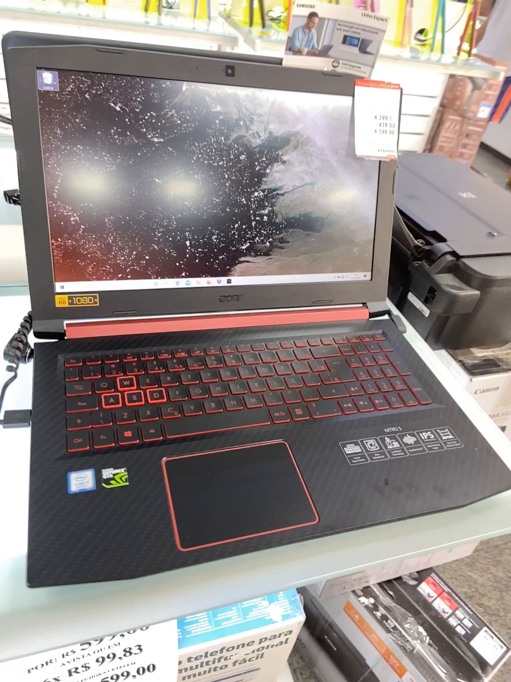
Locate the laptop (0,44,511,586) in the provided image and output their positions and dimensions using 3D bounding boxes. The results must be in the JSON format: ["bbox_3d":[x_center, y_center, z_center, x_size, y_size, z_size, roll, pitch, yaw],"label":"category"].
[{"bbox_3d":[0.008,-0.067,0.448,0.388,0.218,0.362,-4,41,-18],"label":"laptop"}]
